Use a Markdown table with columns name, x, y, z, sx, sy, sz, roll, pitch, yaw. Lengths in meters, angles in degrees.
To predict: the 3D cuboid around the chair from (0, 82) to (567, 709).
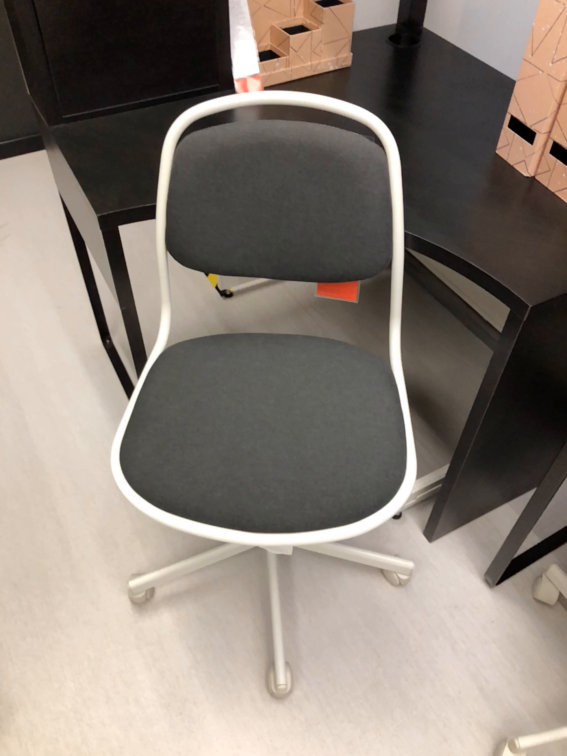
| name | x | y | z | sx | sy | sz | roll | pitch | yaw |
| --- | --- | --- | --- | --- | --- | --- | --- | --- | --- |
| chair | -0.052 | 0.096 | 1.068 | 0.660 | 0.905 | 0.624 | 1 | 48 | 0 |
